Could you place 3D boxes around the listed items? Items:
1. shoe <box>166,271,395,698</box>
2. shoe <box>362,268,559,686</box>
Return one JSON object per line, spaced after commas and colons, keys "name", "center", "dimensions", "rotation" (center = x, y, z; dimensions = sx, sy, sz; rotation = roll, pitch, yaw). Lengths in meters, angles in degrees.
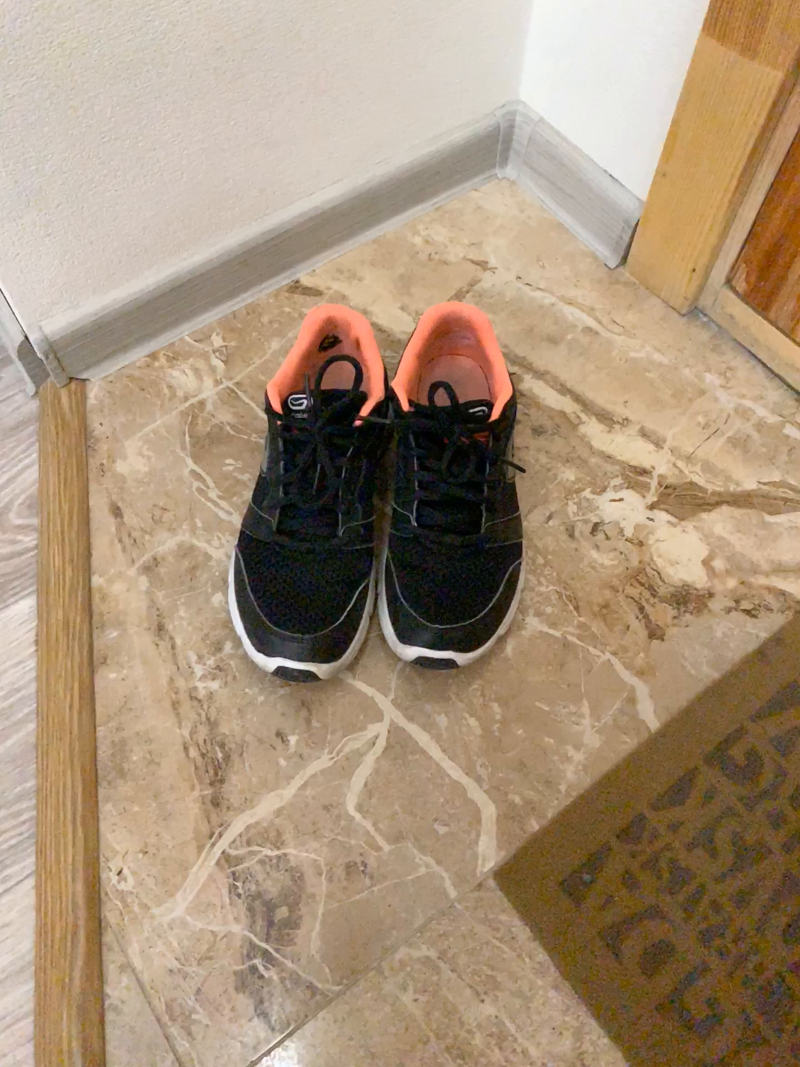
{"name": "shoe", "center": [-0.062, -0.036, 0.521], "dimensions": [0.100, 0.100, 0.251], "rotation": [3, 61, 1]}
{"name": "shoe", "center": [0.038, -0.040, 0.521], "dimensions": [0.100, 0.100, 0.245], "rotation": [3, 61, 1]}
